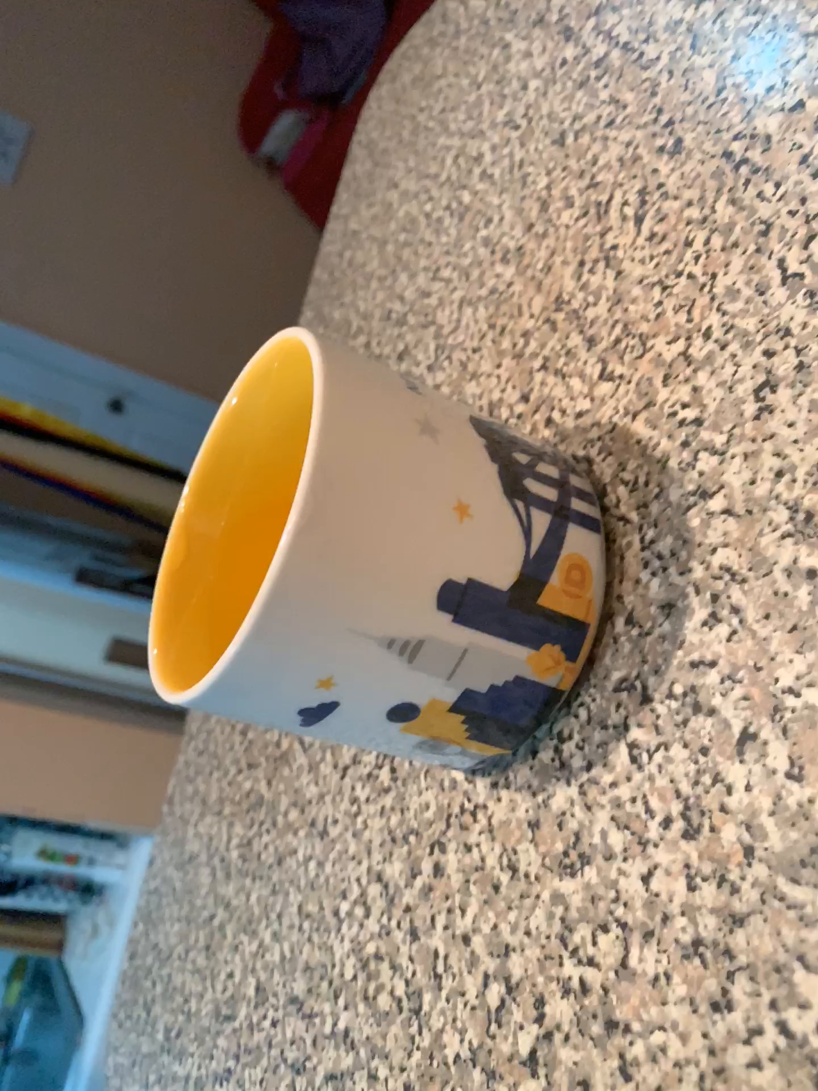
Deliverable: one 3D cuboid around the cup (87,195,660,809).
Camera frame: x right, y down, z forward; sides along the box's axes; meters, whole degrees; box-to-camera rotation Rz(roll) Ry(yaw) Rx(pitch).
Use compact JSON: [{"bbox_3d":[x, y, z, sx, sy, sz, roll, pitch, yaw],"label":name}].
[{"bbox_3d":[-0.018,0.004,0.242,0.140,0.087,0.102,-36,43,49],"label":"cup"}]
